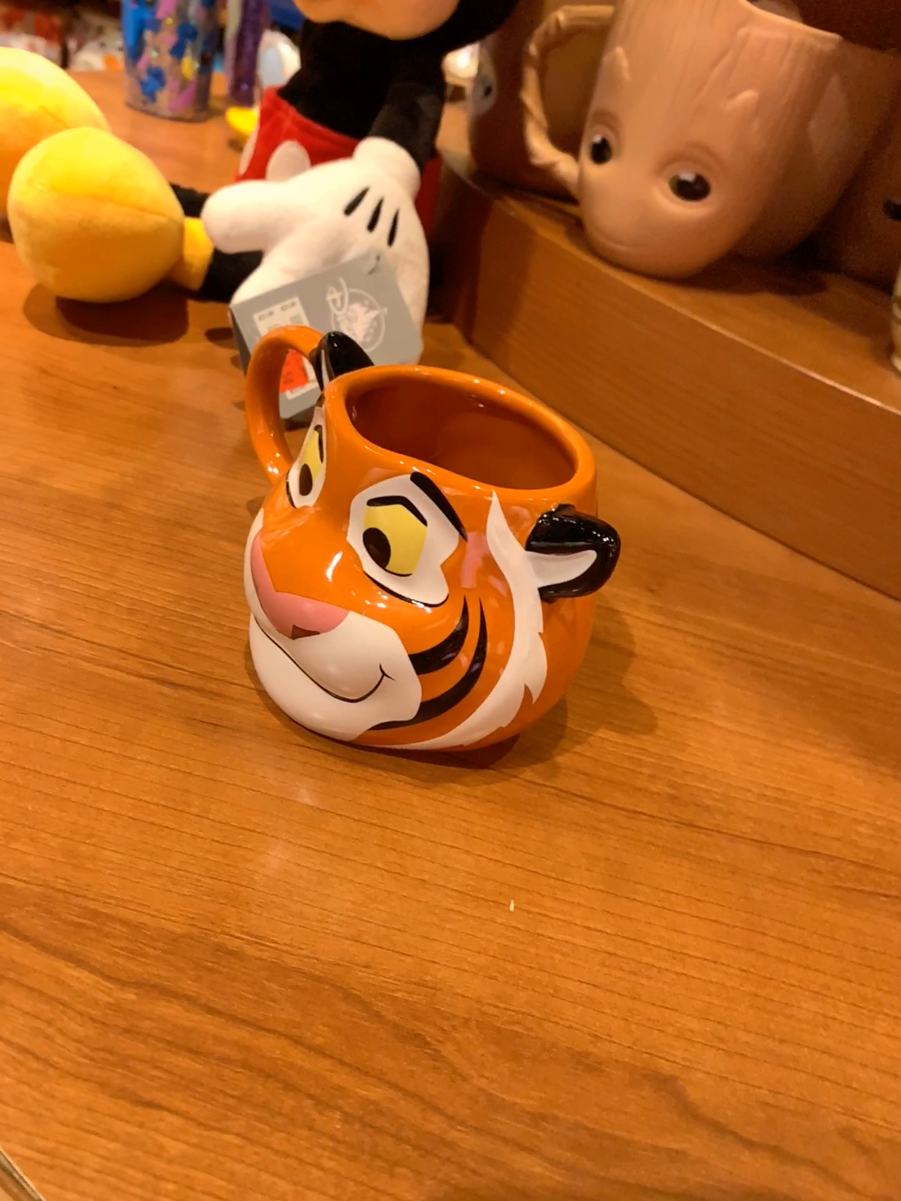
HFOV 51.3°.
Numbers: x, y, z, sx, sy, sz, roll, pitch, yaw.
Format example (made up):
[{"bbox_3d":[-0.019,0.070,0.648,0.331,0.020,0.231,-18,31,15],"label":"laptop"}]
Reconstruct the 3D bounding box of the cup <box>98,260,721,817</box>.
[{"bbox_3d":[-0.022,-0.034,0.290,0.107,0.086,0.150,-17,46,-41],"label":"cup"}]
